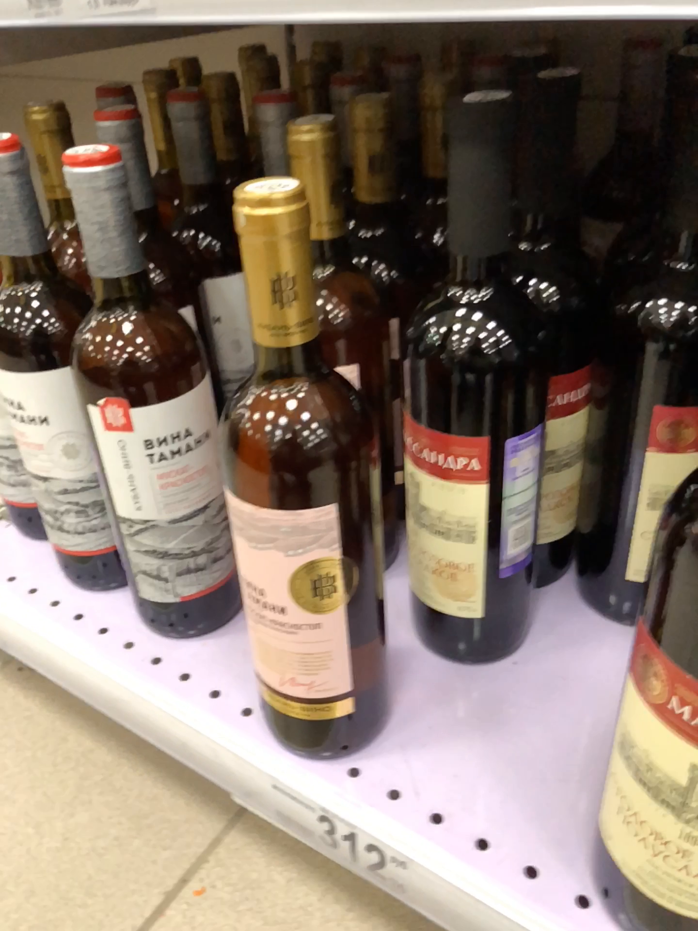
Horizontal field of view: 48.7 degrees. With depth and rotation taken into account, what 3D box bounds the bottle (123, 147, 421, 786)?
[{"bbox_3d":[-0.018,0.016,0.355,0.080,0.290,0.070,11,36,23],"label":"bottle"}]
